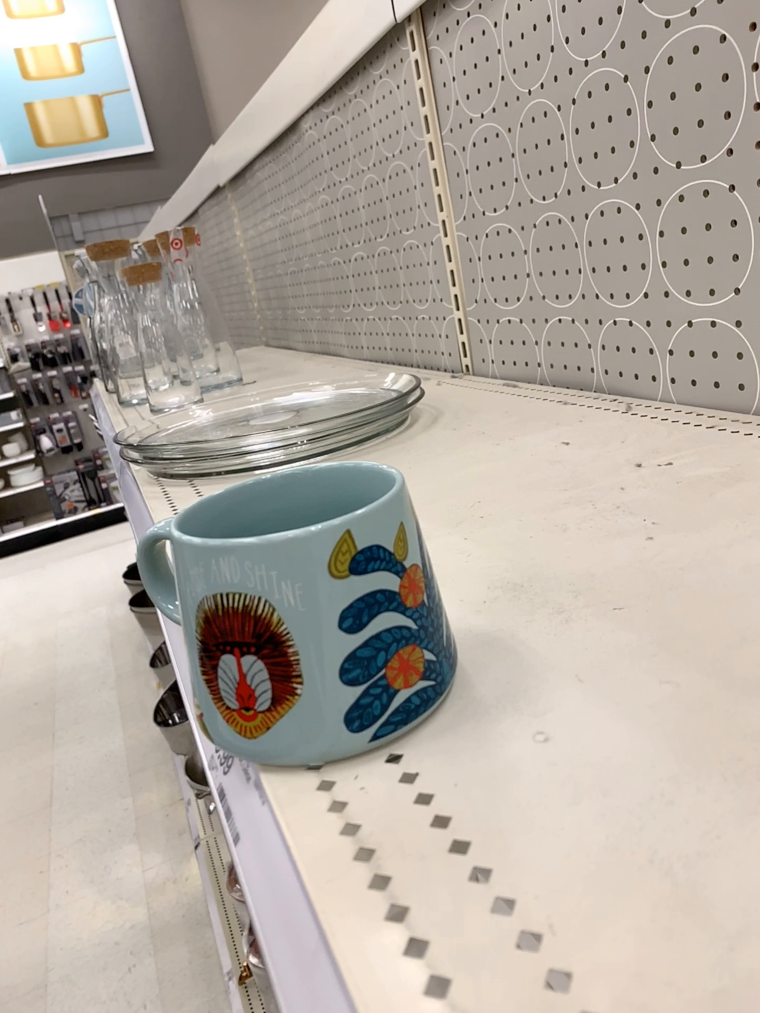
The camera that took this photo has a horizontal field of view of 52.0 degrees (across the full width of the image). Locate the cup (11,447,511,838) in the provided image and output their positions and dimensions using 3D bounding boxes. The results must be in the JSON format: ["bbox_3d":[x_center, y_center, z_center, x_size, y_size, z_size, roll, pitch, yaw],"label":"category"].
[{"bbox_3d":[-0.042,0.039,0.316,0.140,0.090,0.120,0,21,34],"label":"cup"}]
